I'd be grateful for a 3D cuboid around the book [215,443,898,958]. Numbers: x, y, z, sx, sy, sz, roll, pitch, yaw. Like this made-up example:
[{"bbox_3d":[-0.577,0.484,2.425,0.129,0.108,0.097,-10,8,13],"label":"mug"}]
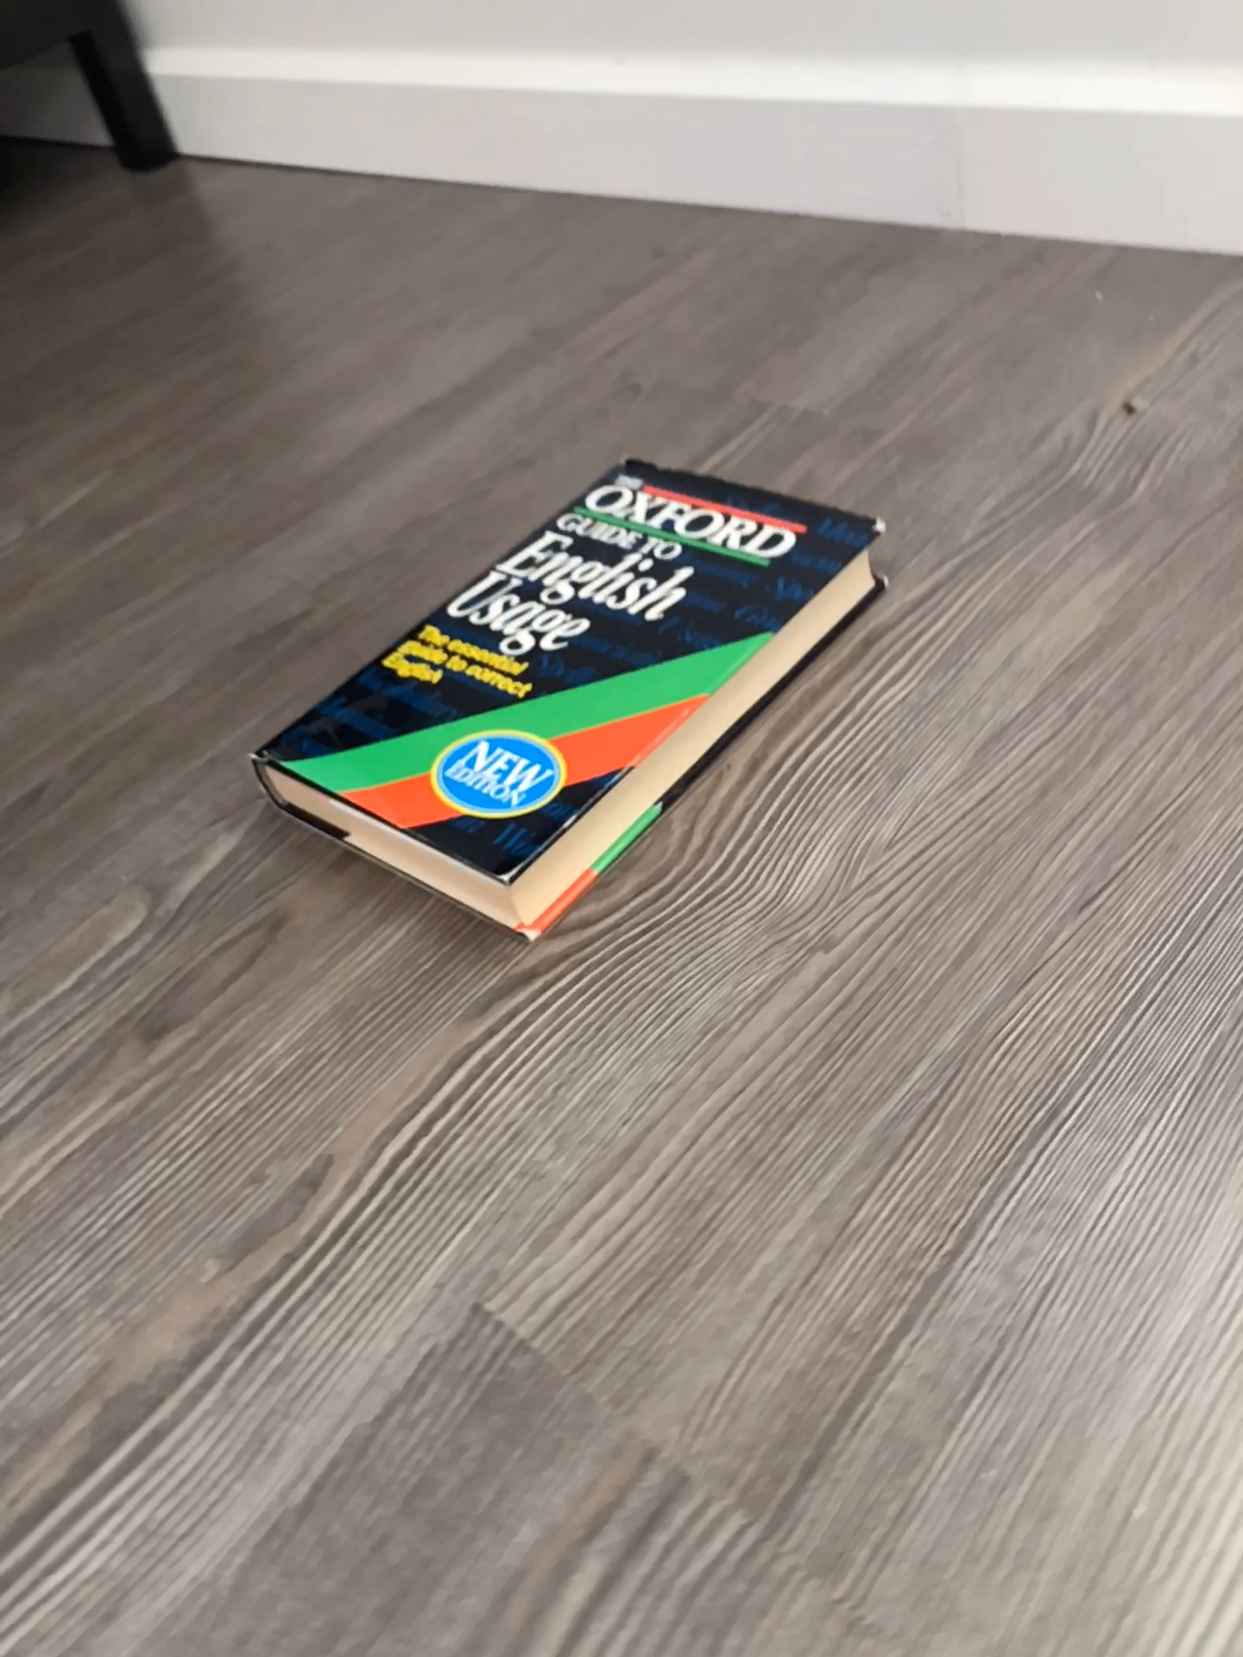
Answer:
[{"bbox_3d":[-0.020,-0.066,0.539,0.150,0.035,0.231,24,55,35],"label":"book"}]
